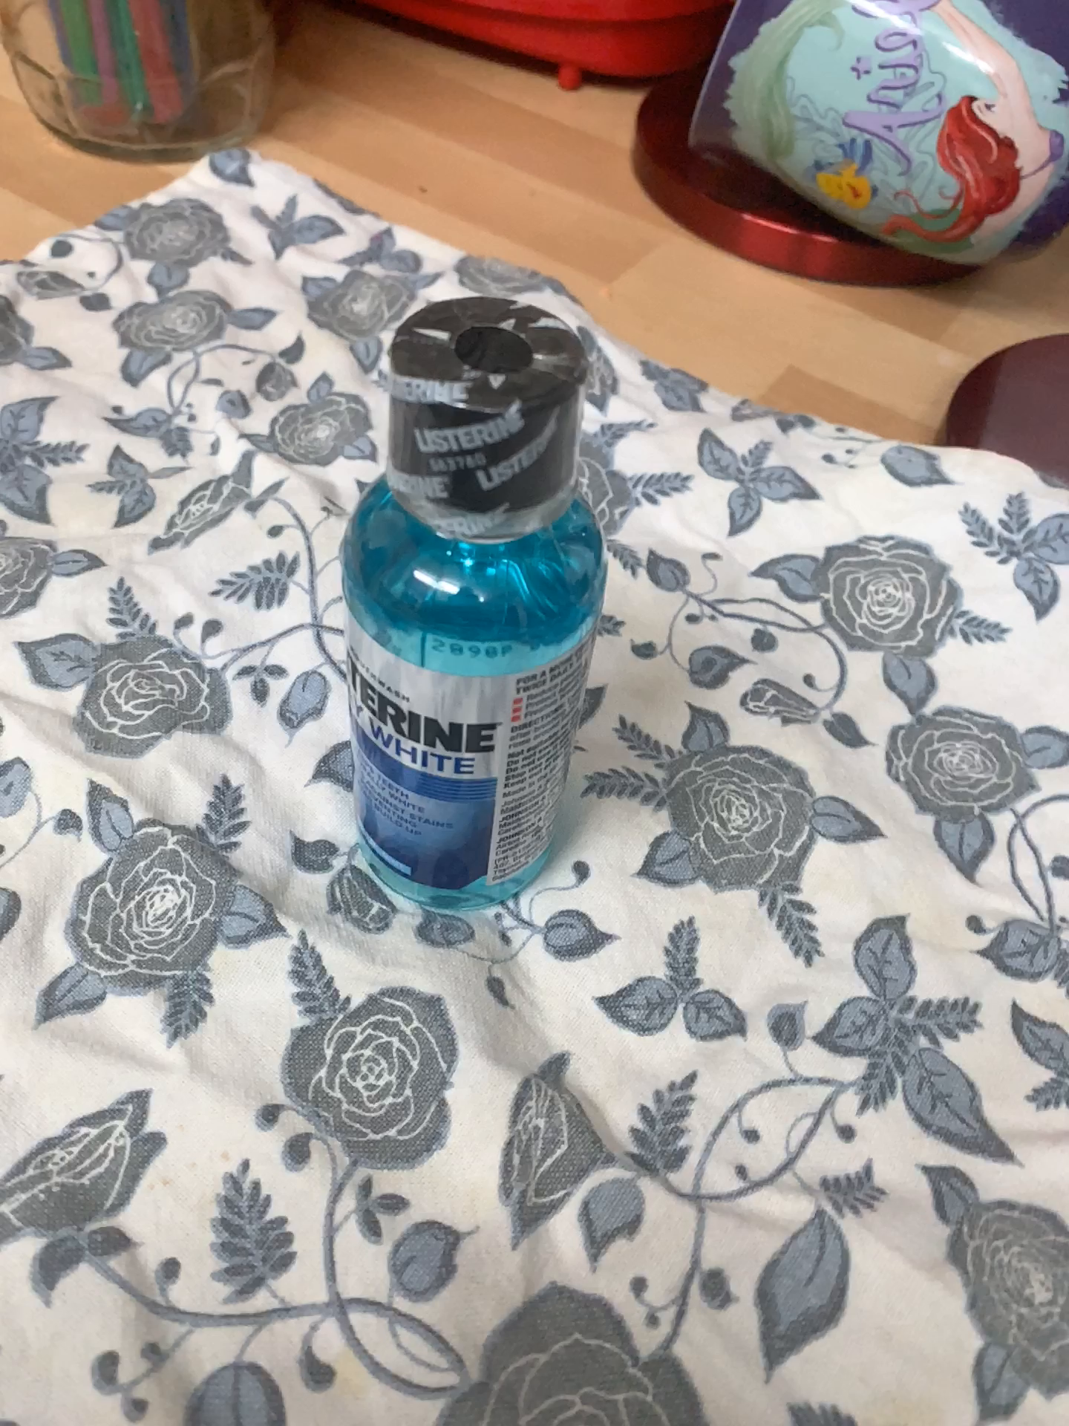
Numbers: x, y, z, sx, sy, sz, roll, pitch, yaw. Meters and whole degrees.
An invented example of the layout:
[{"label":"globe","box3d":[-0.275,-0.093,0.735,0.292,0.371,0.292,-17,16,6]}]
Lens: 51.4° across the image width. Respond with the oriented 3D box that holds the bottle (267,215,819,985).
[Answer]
[{"label":"bottle","box3d":[-0.005,-0.011,0.179,0.050,0.109,0.050,4,51,-5]}]
